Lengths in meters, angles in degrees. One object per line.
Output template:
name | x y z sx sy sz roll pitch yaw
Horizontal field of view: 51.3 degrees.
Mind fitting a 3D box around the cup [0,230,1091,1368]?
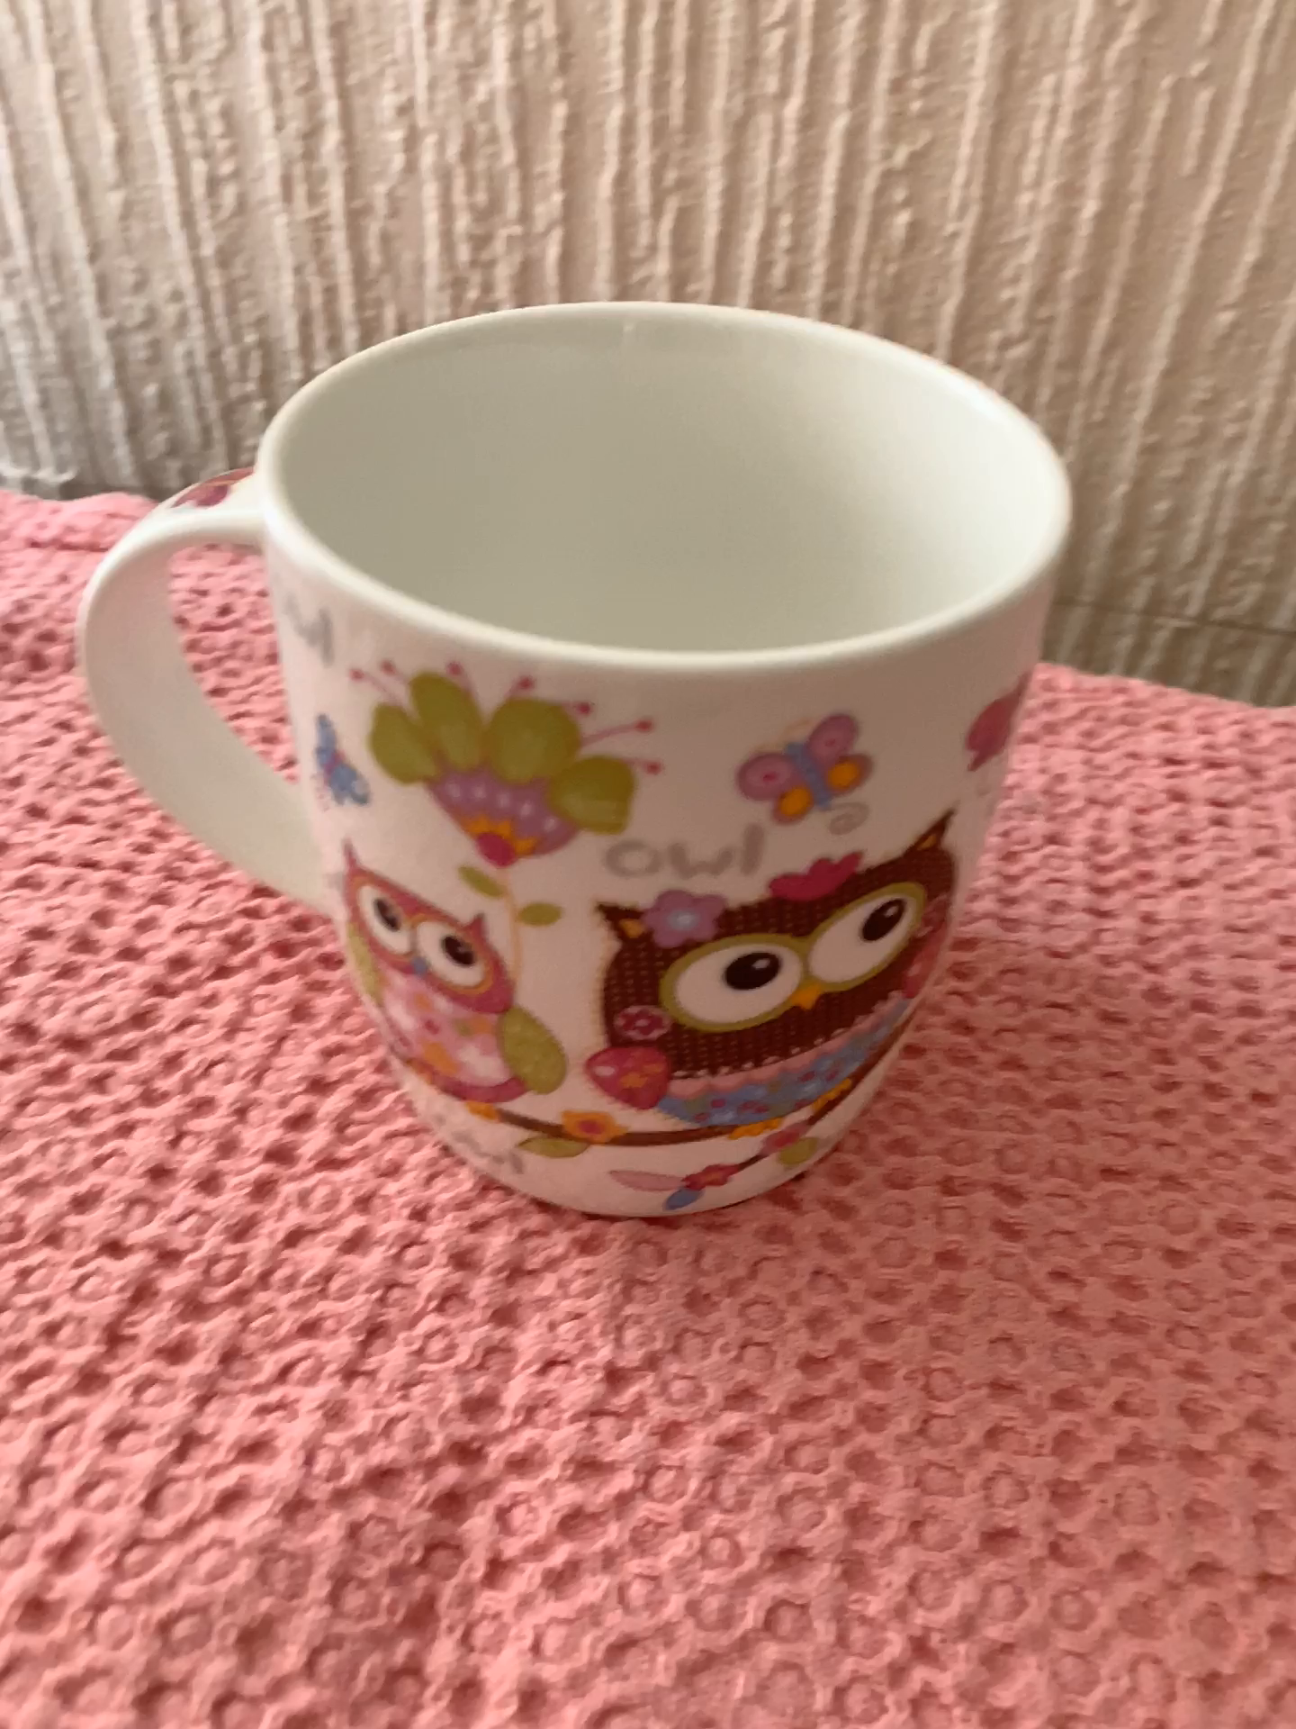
cup | -0.017 -0.014 0.177 0.120 0.089 0.091 13 43 10
